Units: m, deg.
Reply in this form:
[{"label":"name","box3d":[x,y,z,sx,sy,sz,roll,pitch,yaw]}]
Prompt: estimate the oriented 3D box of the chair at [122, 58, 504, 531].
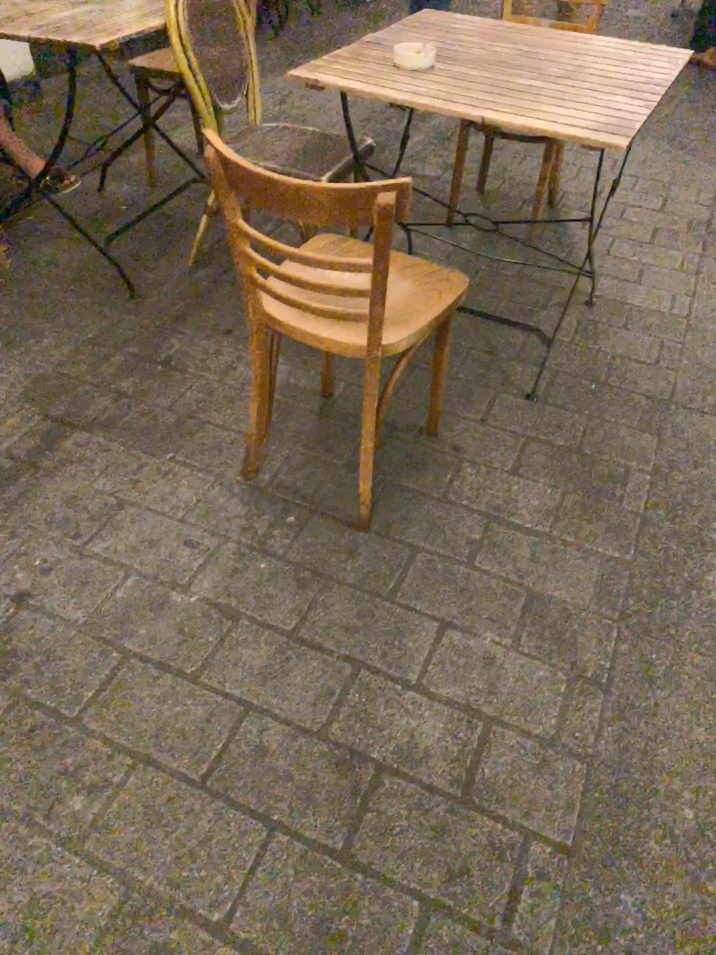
[{"label":"chair","box3d":[-0.067,-0.407,1.619,0.511,0.762,0.545,20,46,19]}]
